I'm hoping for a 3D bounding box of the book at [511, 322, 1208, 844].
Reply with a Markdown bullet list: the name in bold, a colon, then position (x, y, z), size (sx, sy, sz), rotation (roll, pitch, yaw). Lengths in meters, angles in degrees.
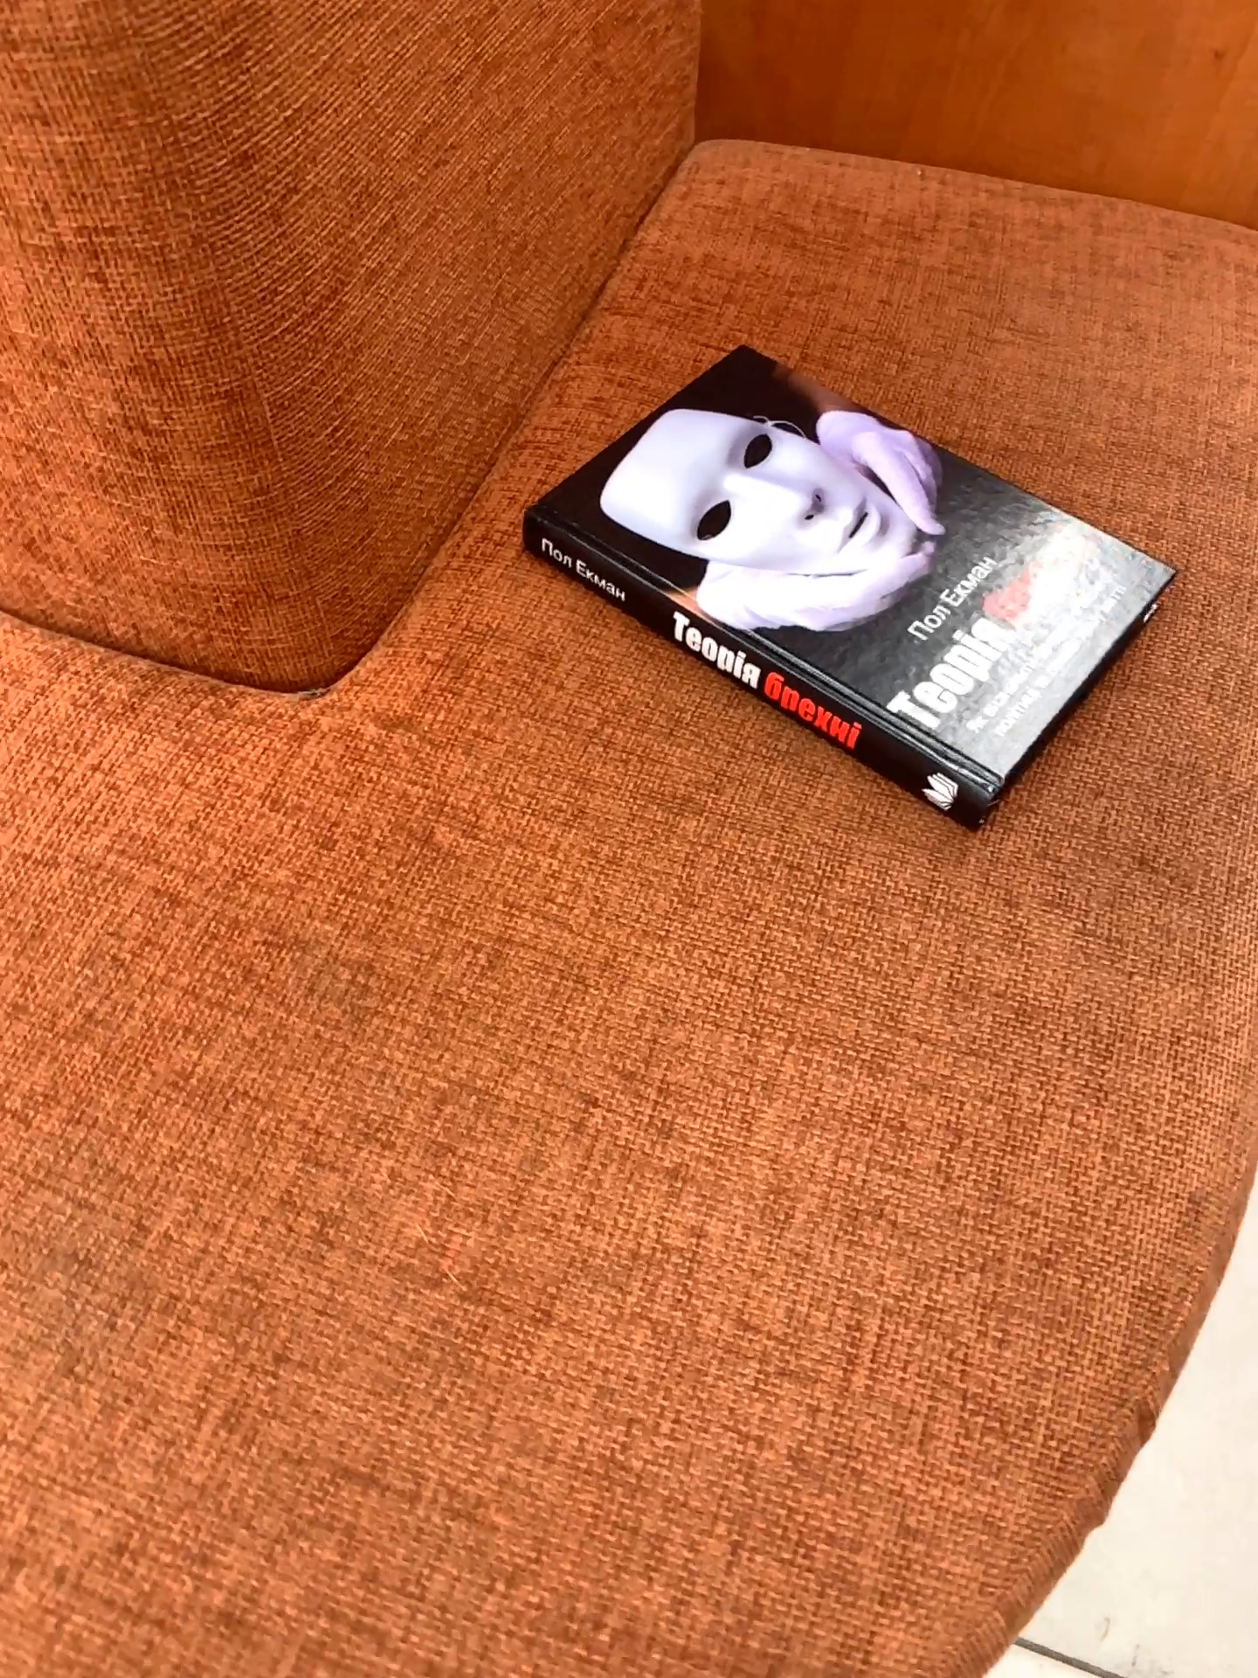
- **book**: position (0.084, -0.109, 0.491), size (0.209, 0.030, 0.150), rotation (34, 62, 21)
